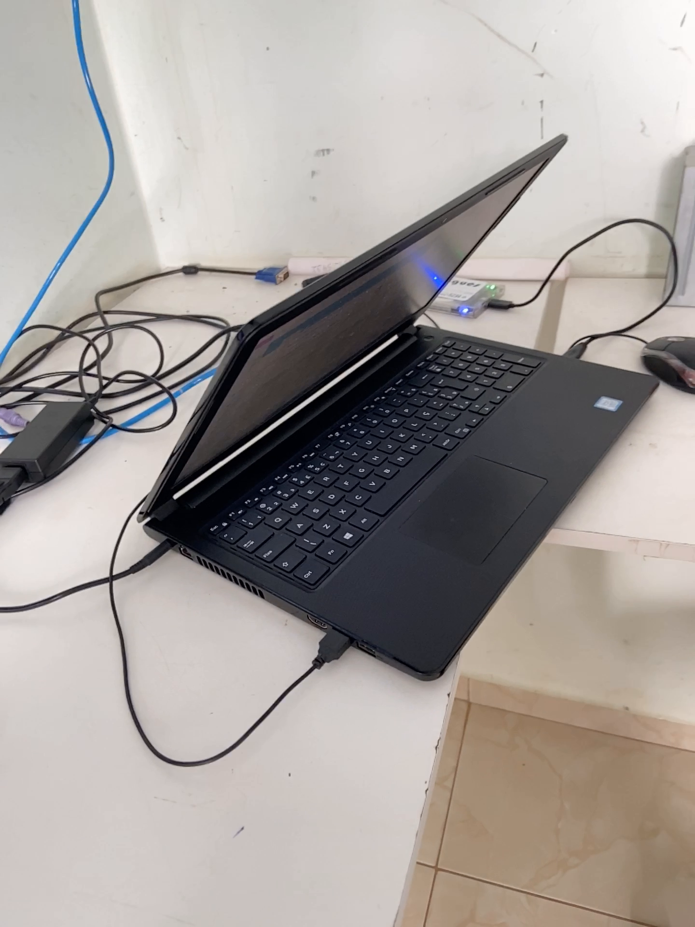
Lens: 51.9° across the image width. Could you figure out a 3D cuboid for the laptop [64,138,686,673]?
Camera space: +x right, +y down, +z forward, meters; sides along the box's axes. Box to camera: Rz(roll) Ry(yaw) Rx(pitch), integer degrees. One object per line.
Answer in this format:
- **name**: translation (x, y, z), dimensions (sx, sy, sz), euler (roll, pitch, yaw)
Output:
- **laptop**: translation (0.049, -0.093, 0.531), dimensions (0.256, 0.192, 0.373), euler (19, 42, 32)
